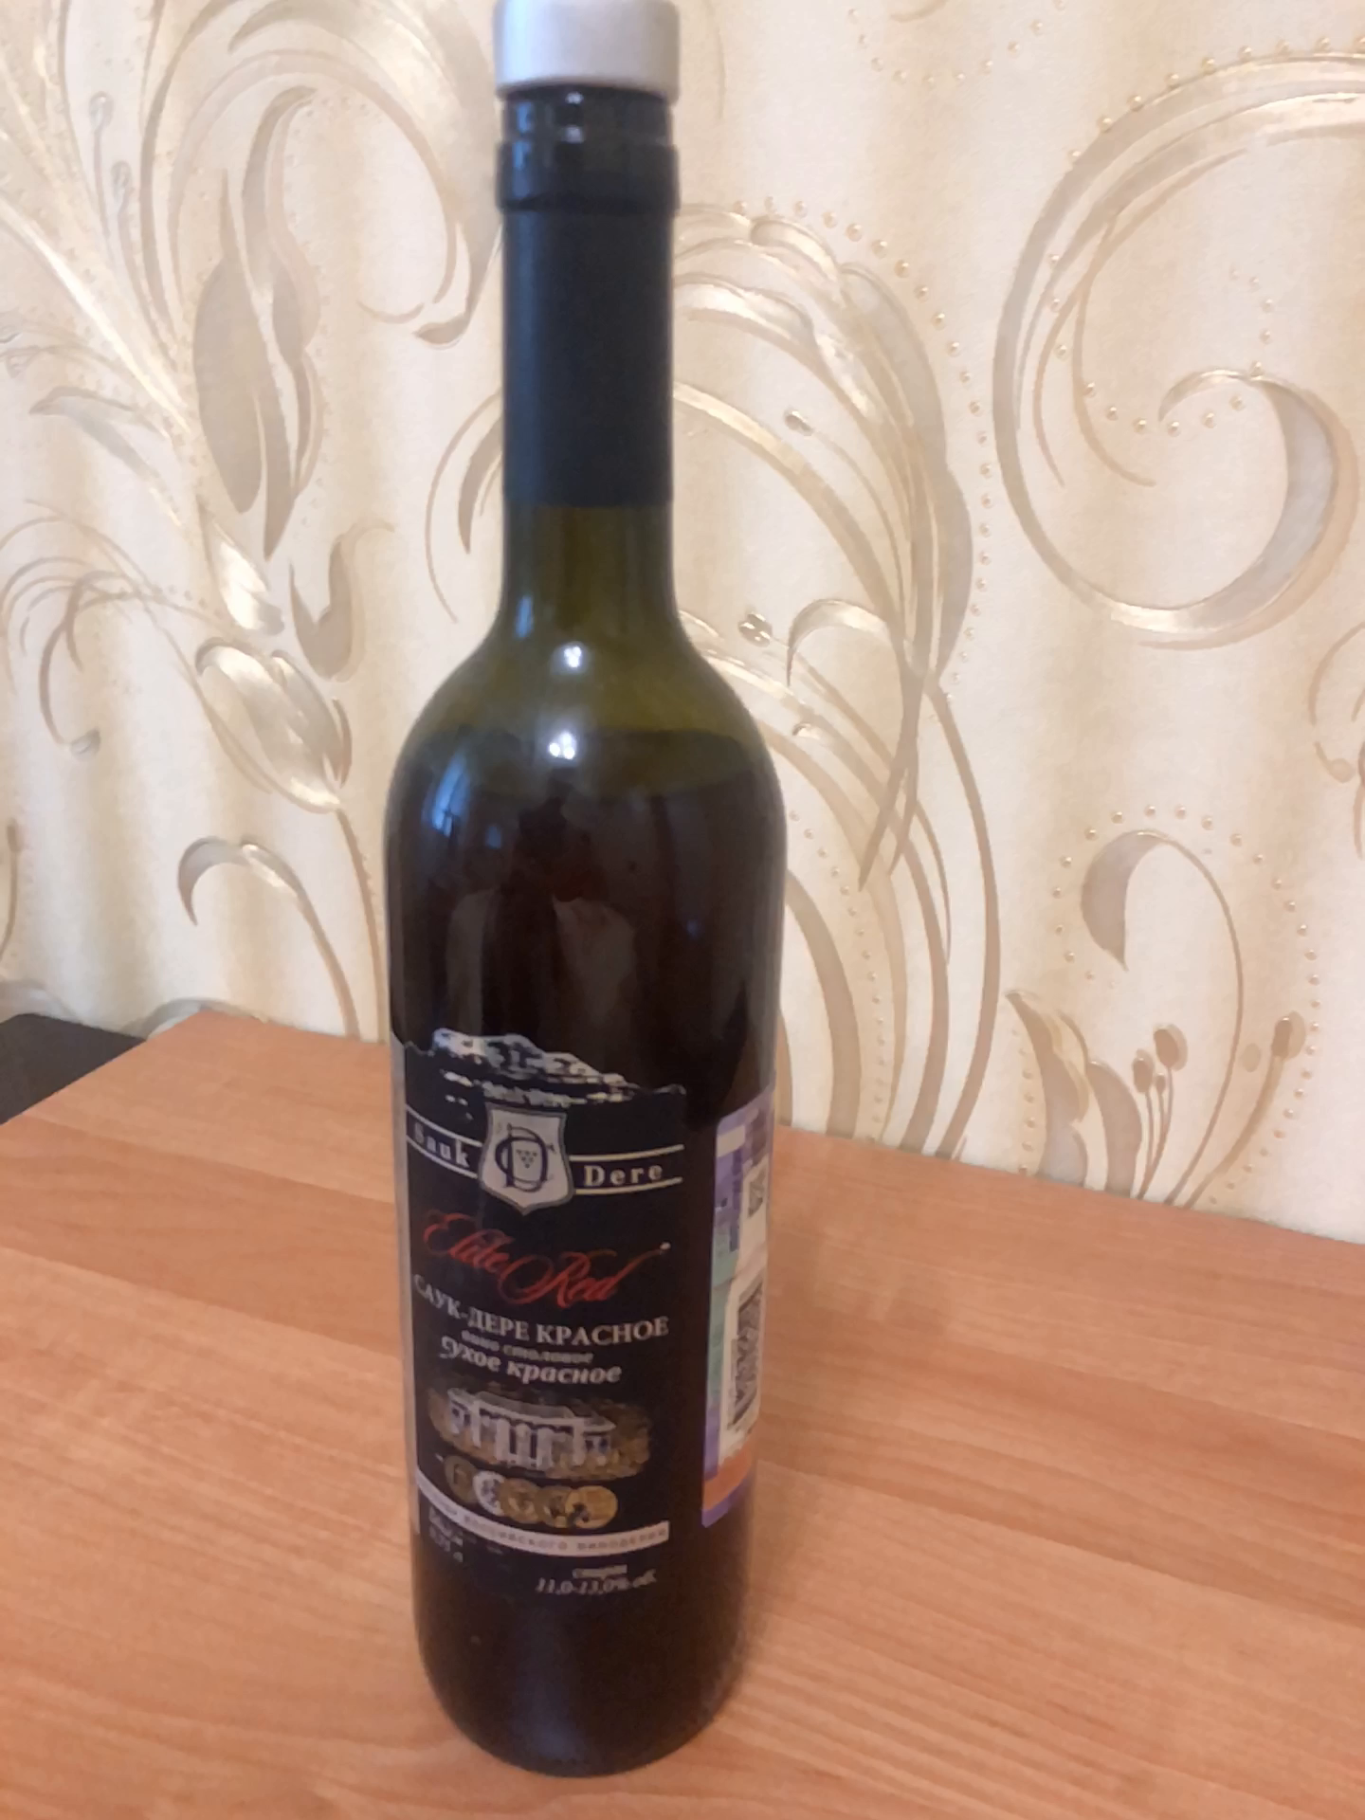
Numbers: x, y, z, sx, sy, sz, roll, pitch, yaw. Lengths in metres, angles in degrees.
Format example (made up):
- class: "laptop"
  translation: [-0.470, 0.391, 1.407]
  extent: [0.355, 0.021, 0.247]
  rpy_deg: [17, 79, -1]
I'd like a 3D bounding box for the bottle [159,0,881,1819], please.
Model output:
- class: "bottle"
  translation: [-0.023, 0.009, 0.281]
  extent: [0.083, 0.322, 0.074]
  rpy_deg: [9, 21, 22]
